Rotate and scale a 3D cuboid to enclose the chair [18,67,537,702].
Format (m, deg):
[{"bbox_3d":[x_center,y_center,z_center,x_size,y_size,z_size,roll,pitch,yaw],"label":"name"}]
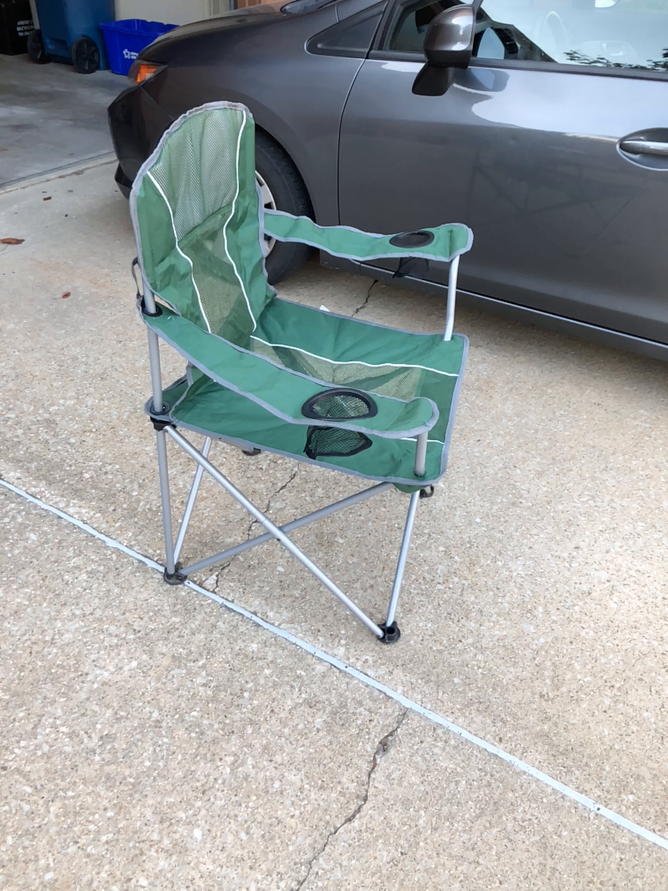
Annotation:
[{"bbox_3d":[-0.022,-0.174,1.496,0.640,0.908,0.822,11,37,10],"label":"chair"}]
